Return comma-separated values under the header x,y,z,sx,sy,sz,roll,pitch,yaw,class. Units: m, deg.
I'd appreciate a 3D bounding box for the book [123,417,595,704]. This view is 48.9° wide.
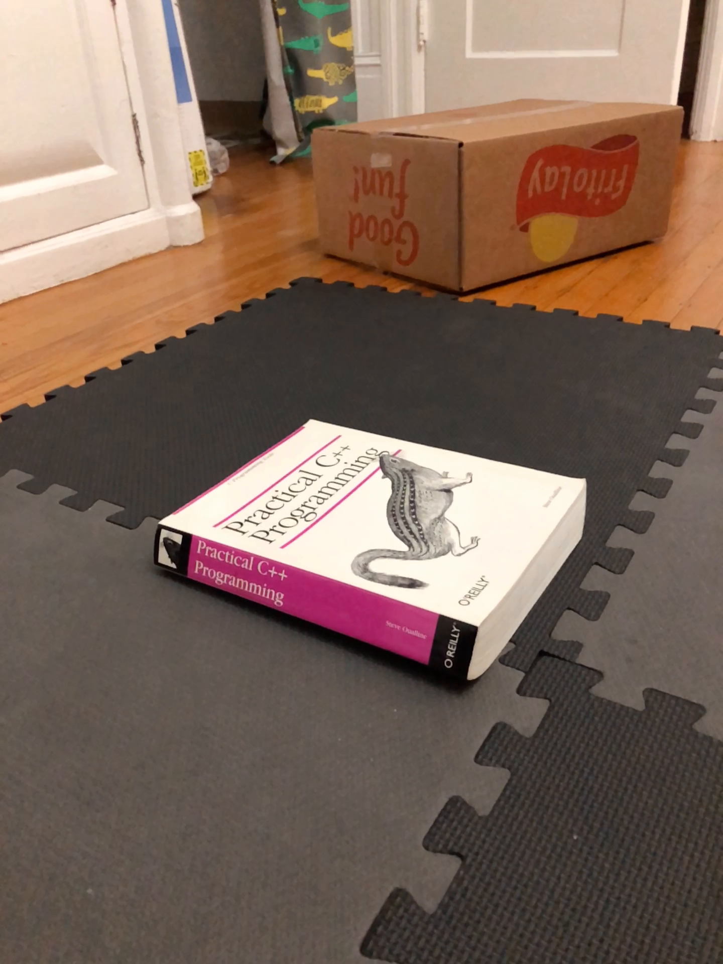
x,y,z,sx,sy,sz,roll,pitch,yaw,class
0.004,0.031,0.544,0.250,0.050,0.201,14,28,27,book
